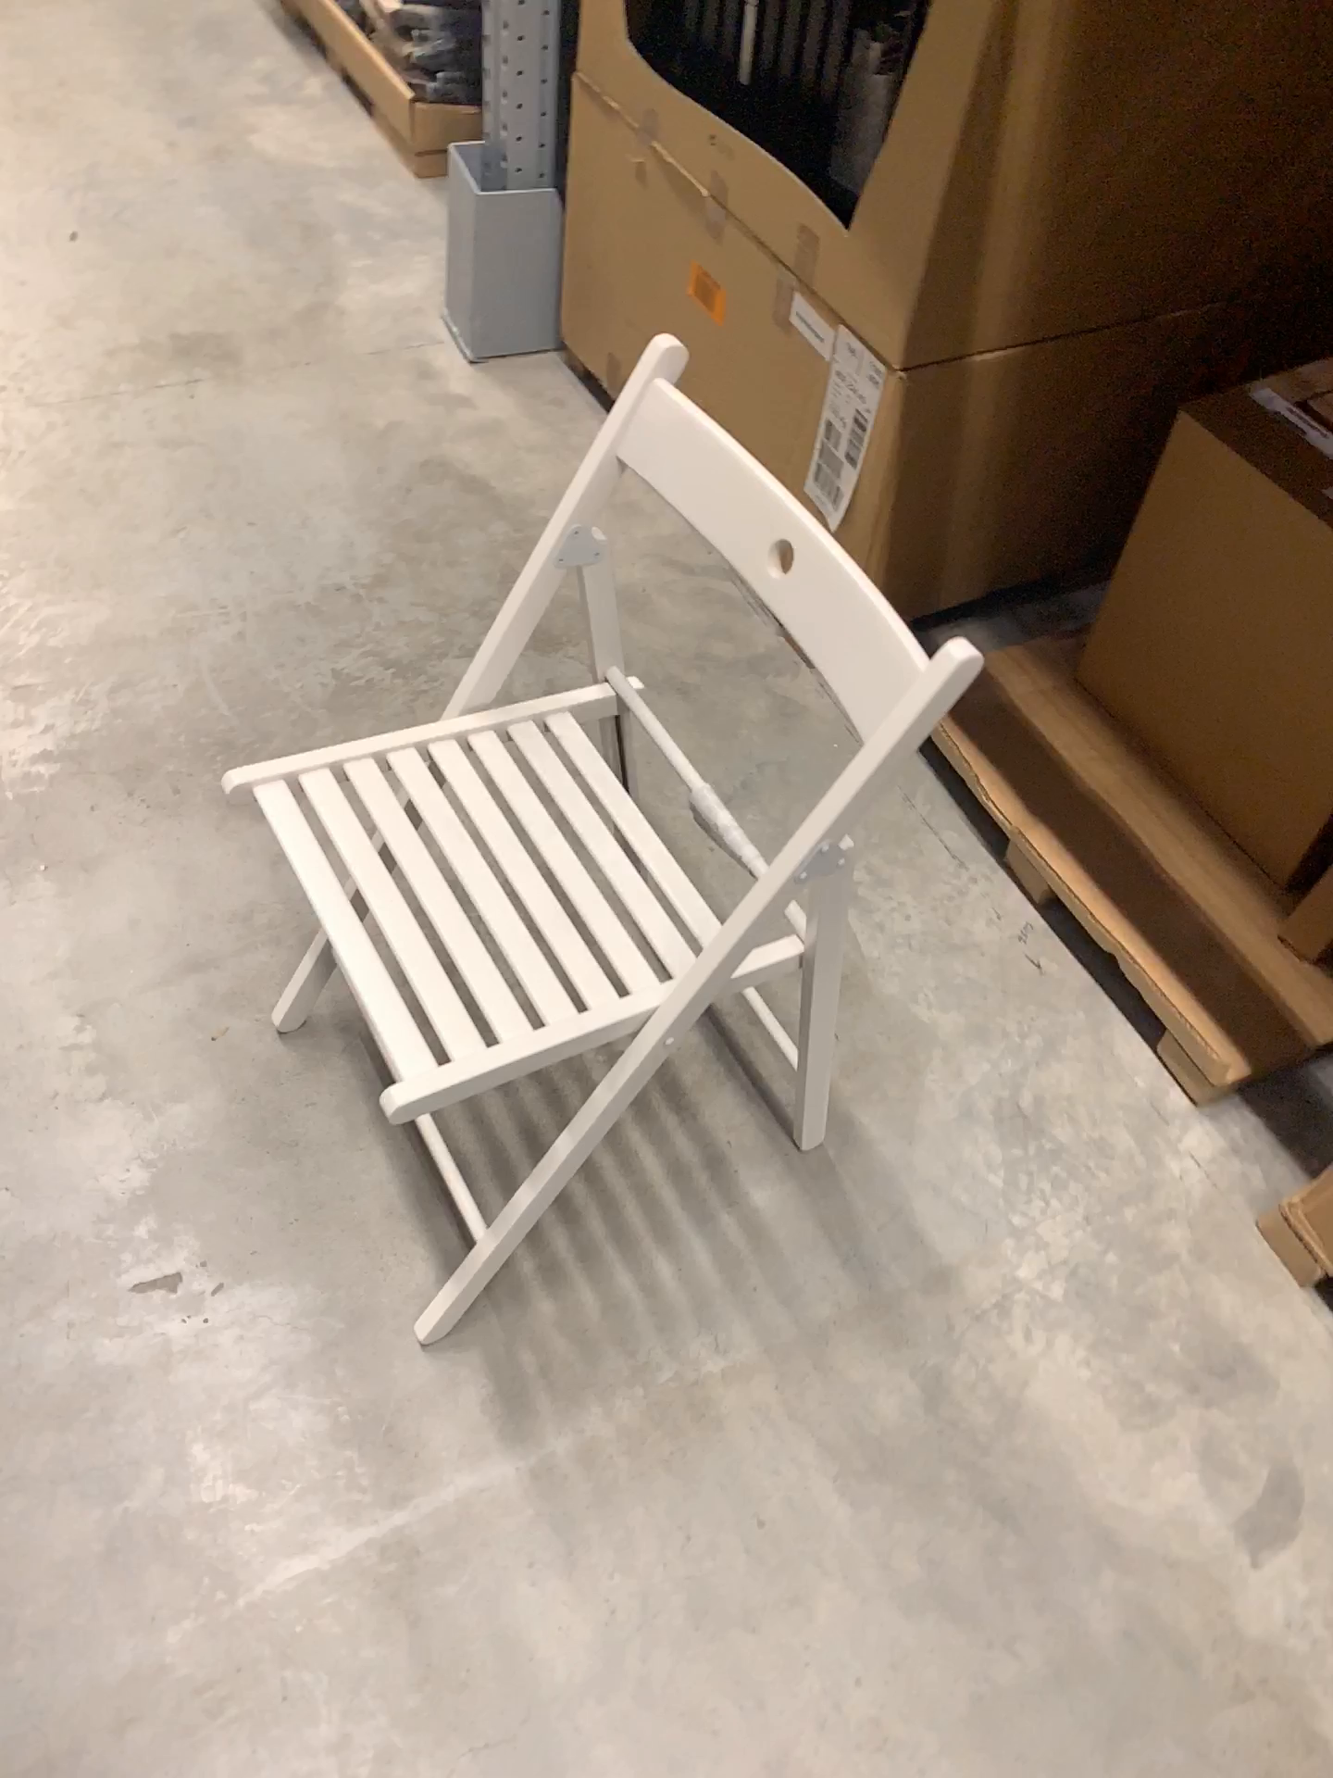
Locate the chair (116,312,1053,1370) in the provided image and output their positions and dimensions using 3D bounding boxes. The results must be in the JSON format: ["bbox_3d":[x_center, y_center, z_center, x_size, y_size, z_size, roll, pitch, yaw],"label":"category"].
[{"bbox_3d":[-0.098,-0.012,1.160,0.470,0.707,0.431,-20,57,-22],"label":"chair"}]
